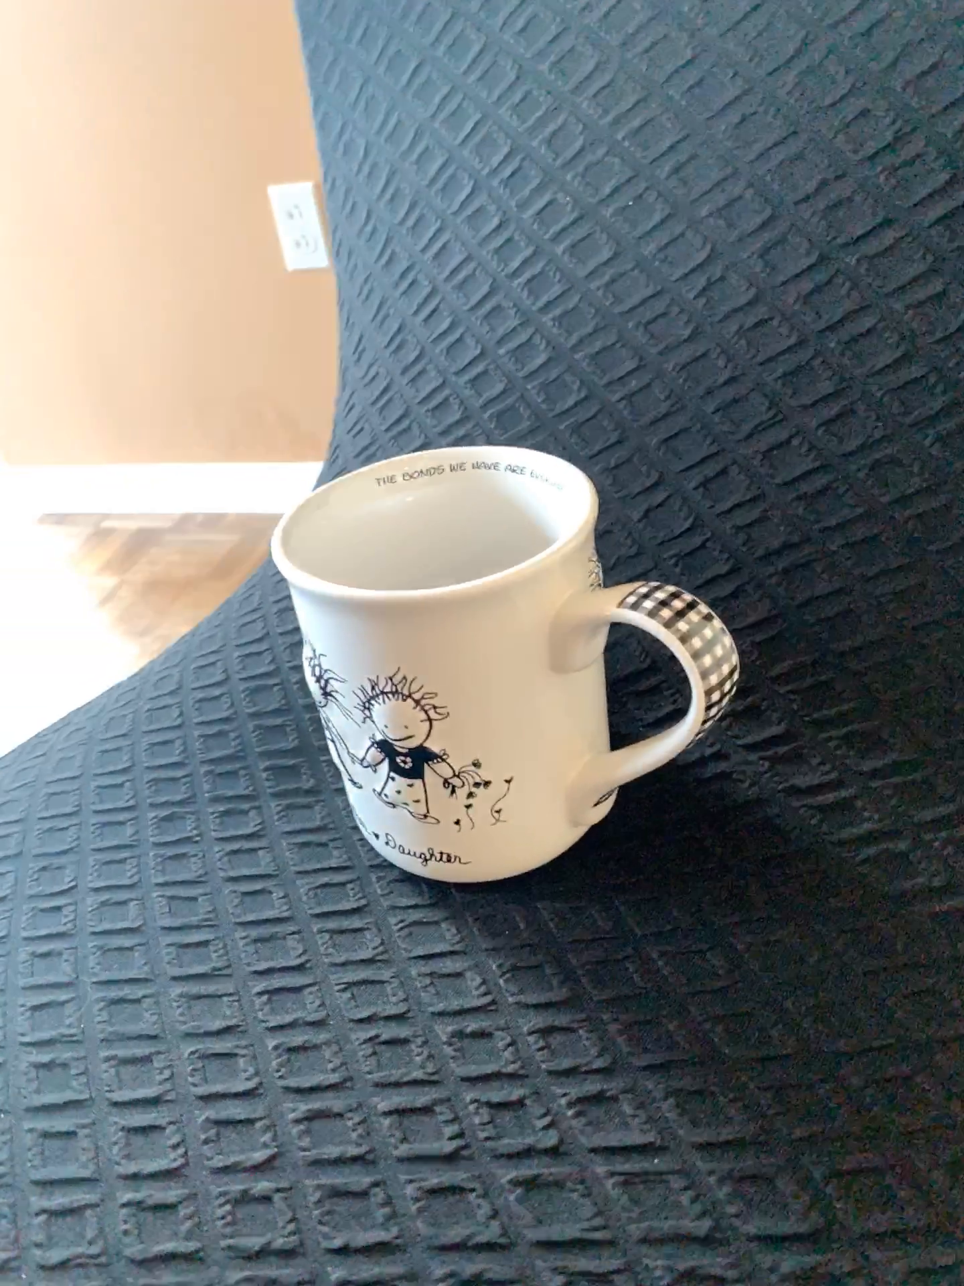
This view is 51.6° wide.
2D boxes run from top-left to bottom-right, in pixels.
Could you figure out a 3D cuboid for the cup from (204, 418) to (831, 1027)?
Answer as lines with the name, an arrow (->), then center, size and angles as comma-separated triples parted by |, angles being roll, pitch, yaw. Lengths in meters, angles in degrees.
cup -> 0.015, 0.012, 0.301 | 0.140, 0.109, 0.100 | 18, 44, 36
